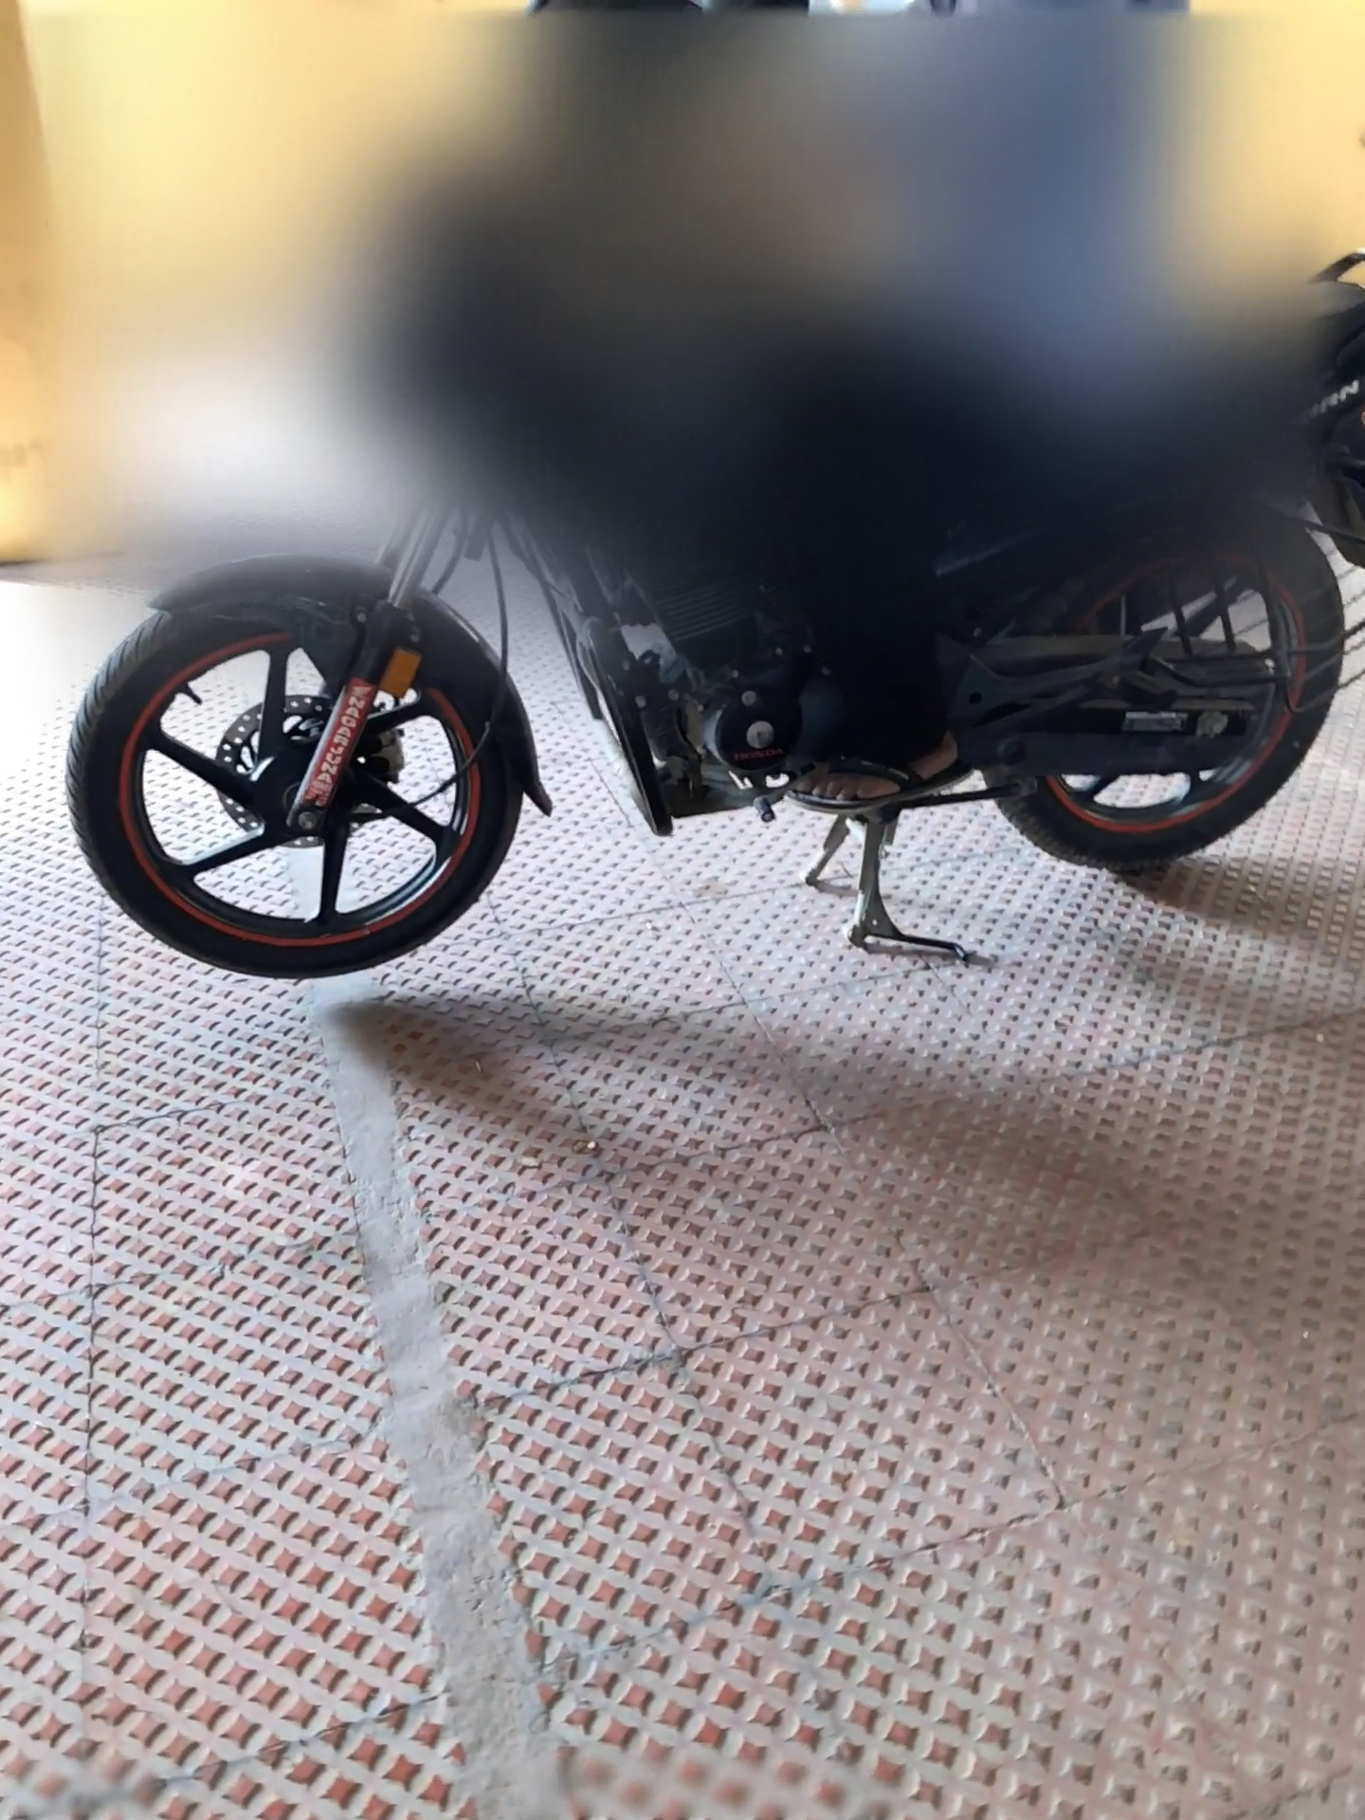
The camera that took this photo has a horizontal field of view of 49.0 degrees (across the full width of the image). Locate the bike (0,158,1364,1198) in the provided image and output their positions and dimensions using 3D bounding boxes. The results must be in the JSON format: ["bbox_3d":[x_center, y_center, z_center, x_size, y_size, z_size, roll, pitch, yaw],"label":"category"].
[{"bbox_3d":[0.125,-0.425,2.118,1.886,1.009,0.789,-9,31,-13],"label":"bike"}]
